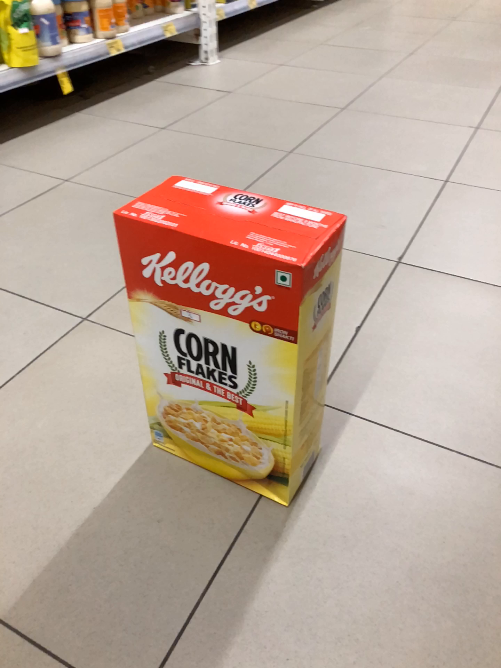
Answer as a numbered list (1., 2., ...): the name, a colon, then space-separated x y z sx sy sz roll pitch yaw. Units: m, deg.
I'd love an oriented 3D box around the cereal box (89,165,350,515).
1. cereal box: -0.026 0.015 0.570 0.200 0.318 0.101 18 42 22
